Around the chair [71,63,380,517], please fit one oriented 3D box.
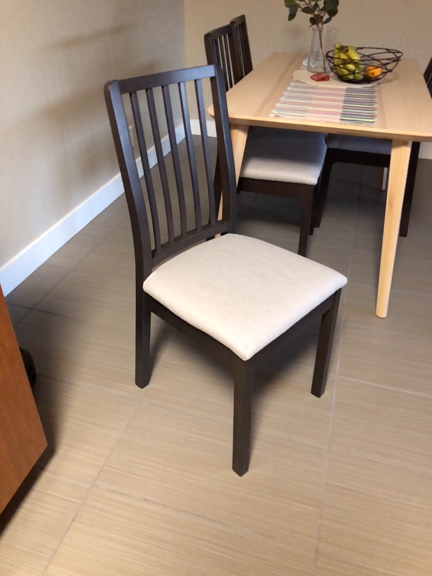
[{"bbox_3d":[0.010,0.015,1.385,0.481,1.124,0.511,-27,43,-36],"label":"chair"}]
